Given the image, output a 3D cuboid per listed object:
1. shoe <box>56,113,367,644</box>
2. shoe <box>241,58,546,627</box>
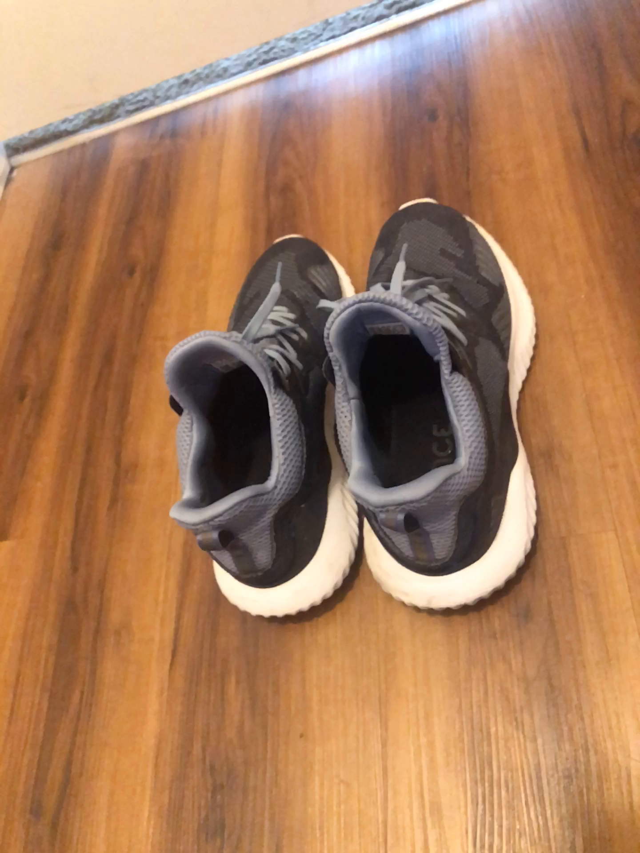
[{"bbox_3d":[-0.054,-0.037,0.500,0.133,0.135,0.334,-10,58,19],"label":"shoe"},{"bbox_3d":[0.058,-0.055,0.458,0.131,0.130,0.334,-7,60,21],"label":"shoe"}]
